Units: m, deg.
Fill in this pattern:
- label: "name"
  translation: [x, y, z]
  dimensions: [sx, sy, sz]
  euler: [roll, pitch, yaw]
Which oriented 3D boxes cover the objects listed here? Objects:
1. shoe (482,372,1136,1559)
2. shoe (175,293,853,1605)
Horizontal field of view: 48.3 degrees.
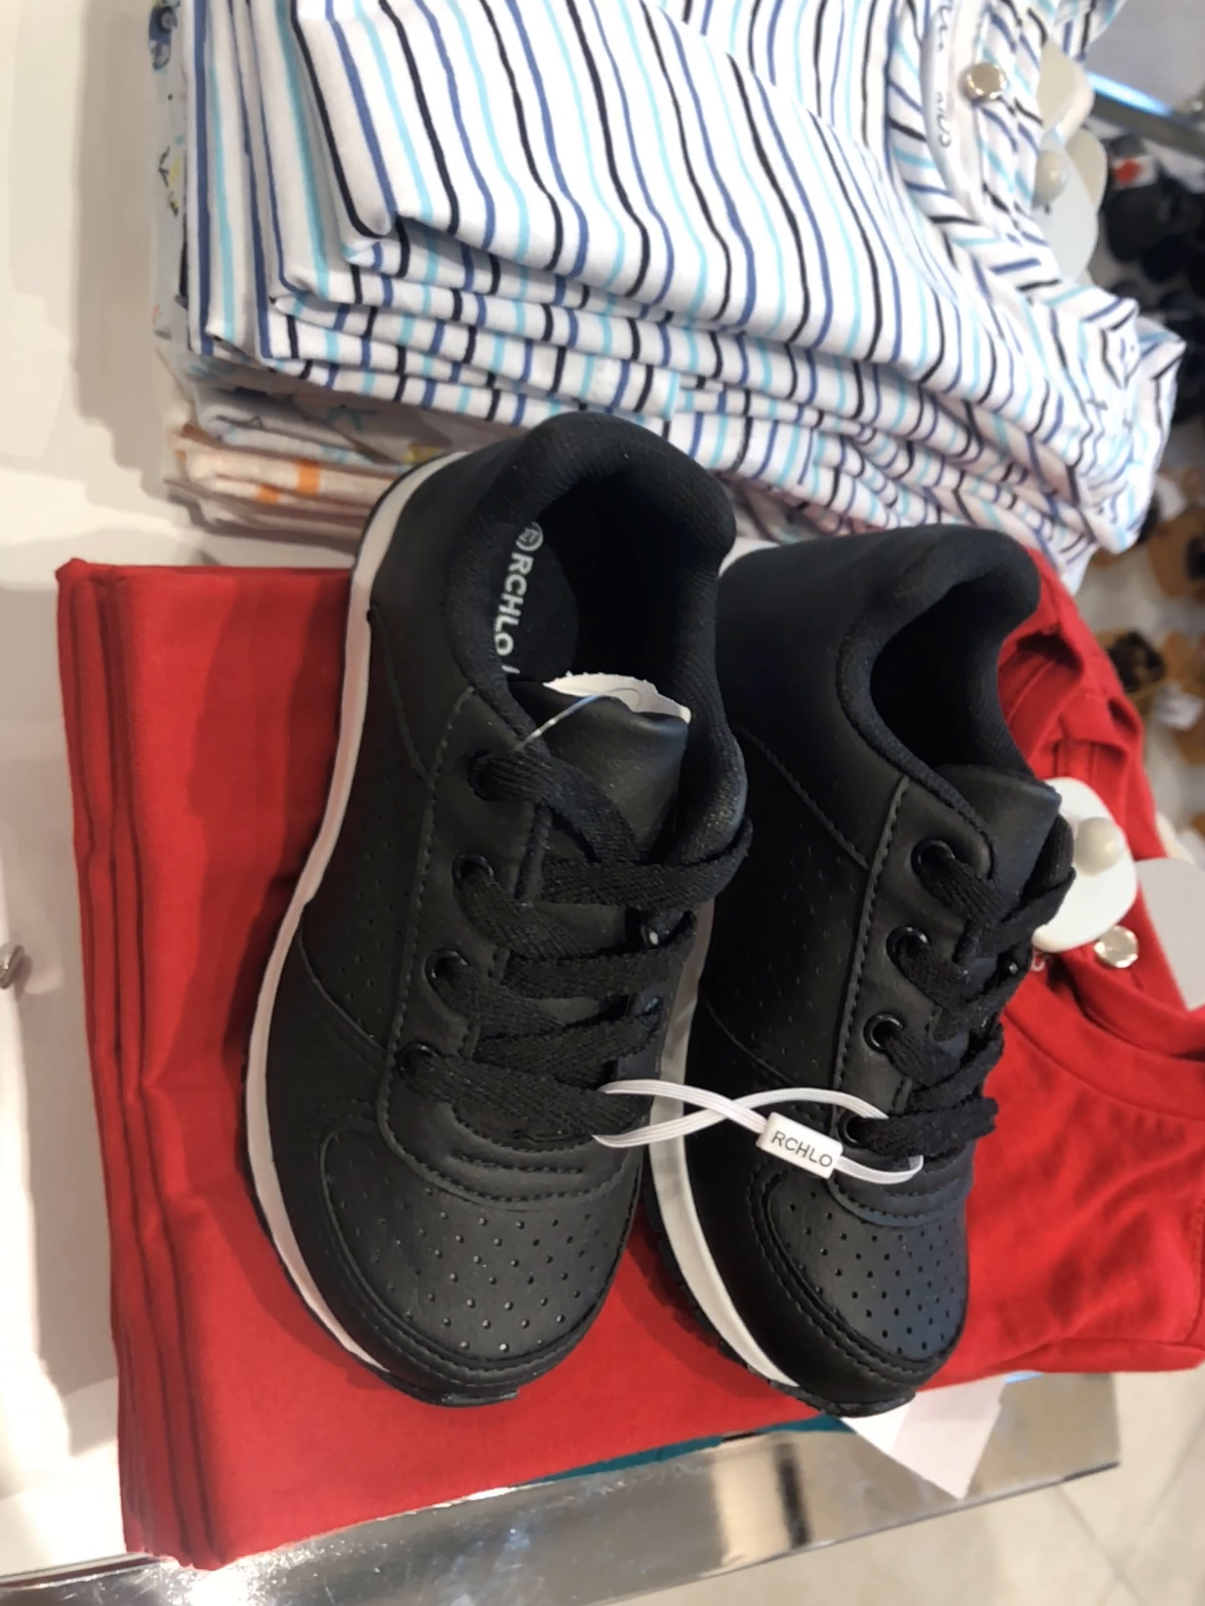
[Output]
- label: "shoe"
  translation: [0.037, 0.028, 0.275]
  dimensions: [0.080, 0.086, 0.190]
  euler: [4, 79, -40]
- label: "shoe"
  translation: [-0.015, 0.022, 0.240]
  dimensions: [0.080, 0.080, 0.180]
  euler: [9, 80, -36]
